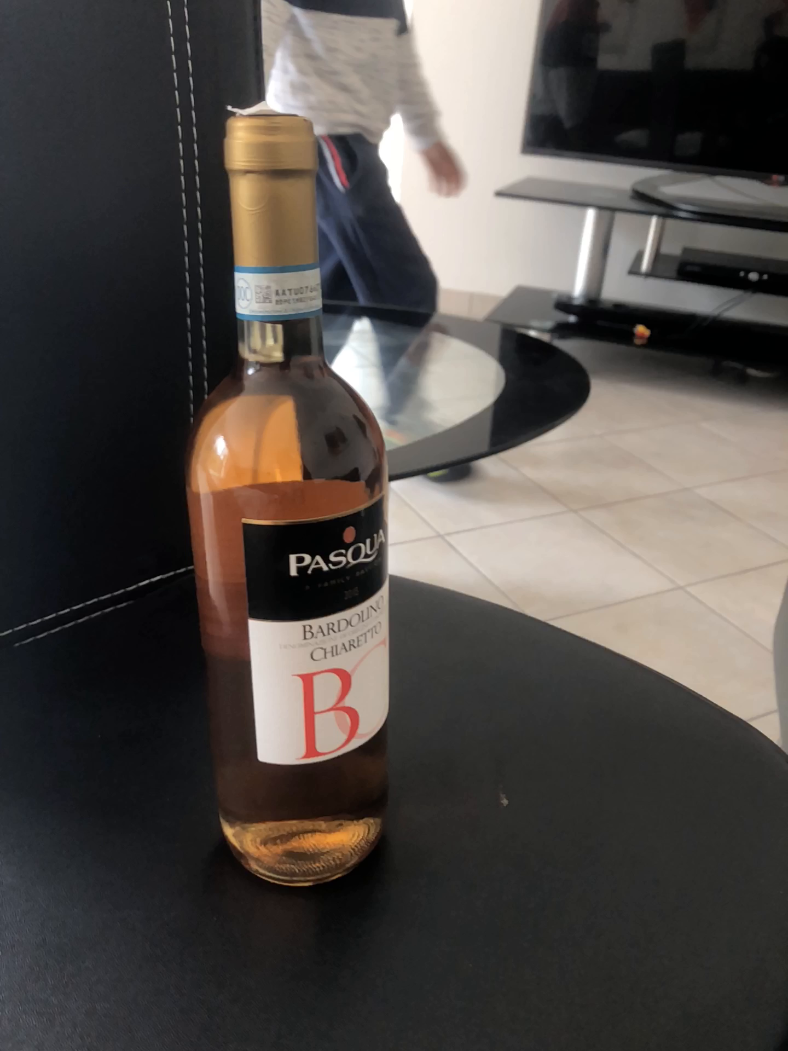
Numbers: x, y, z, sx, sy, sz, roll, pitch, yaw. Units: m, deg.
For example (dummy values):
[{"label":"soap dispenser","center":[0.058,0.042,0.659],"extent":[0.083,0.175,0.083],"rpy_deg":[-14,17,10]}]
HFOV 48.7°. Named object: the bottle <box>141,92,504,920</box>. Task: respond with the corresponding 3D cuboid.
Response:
[{"label":"bottle","center":[-0.033,0.003,0.316],"extent":[0.080,0.278,0.080],"rpy_deg":[4,28,-2]}]
